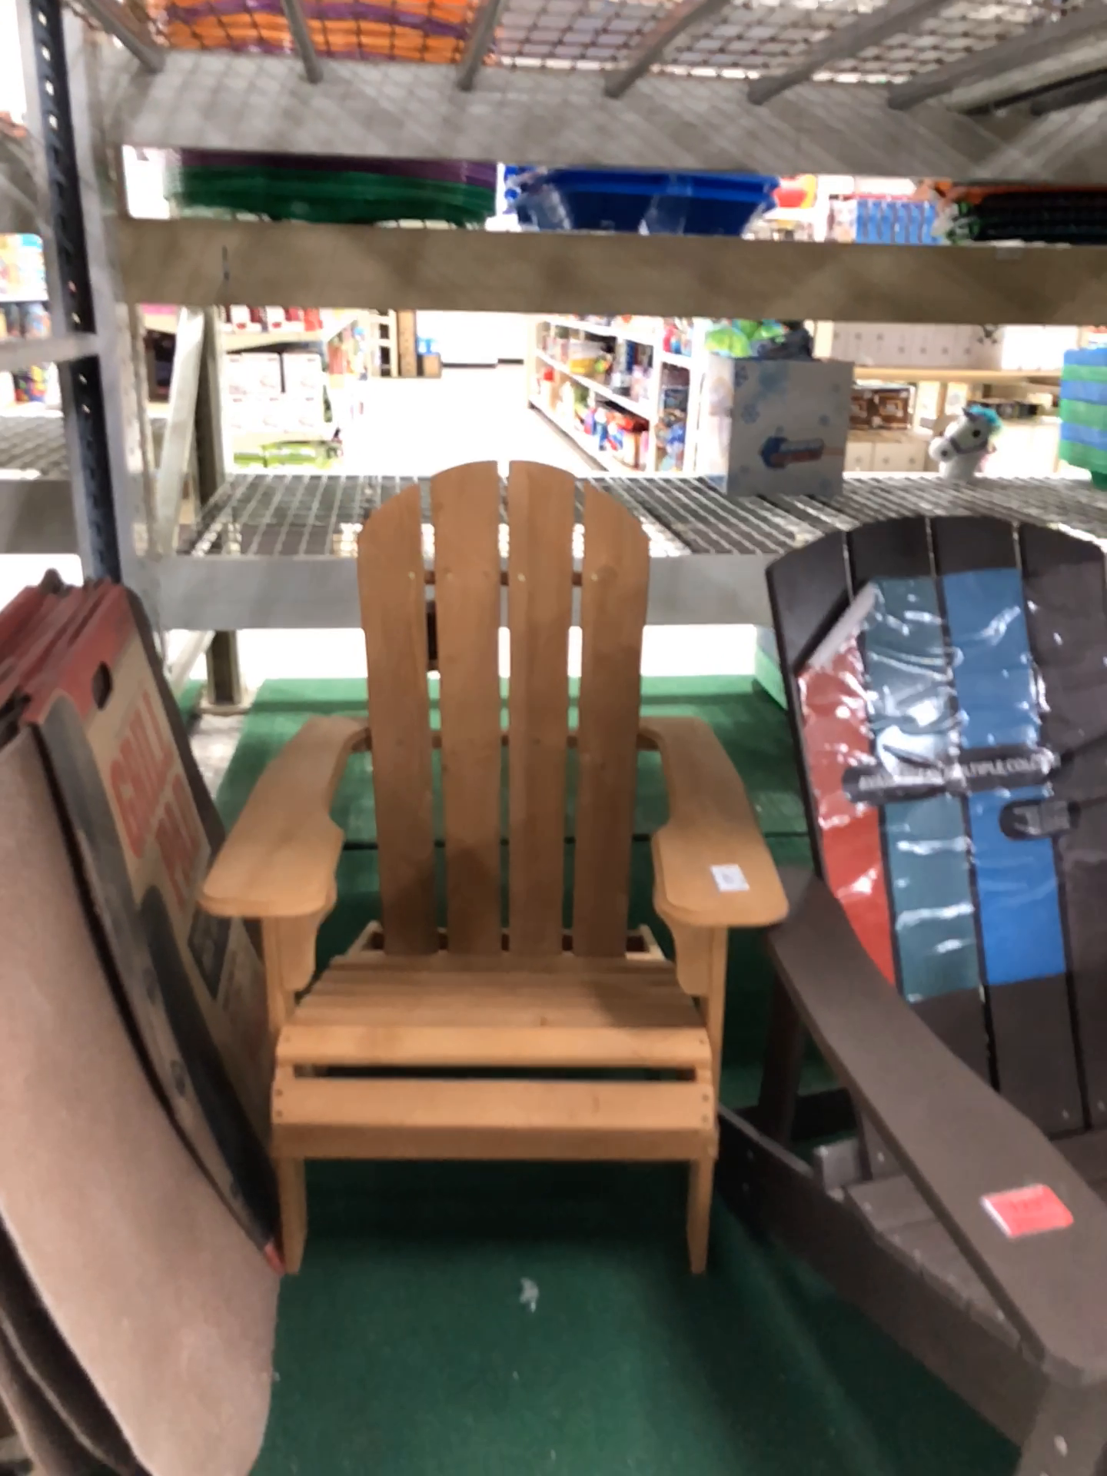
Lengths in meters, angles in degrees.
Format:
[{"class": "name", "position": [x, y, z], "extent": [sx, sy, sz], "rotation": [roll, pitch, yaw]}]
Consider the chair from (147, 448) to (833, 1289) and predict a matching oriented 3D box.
[{"class": "chair", "position": [-0.071, 0.115, 1.597], "extent": [0.641, 0.885, 0.690], "rotation": [1, 20, -1]}]
